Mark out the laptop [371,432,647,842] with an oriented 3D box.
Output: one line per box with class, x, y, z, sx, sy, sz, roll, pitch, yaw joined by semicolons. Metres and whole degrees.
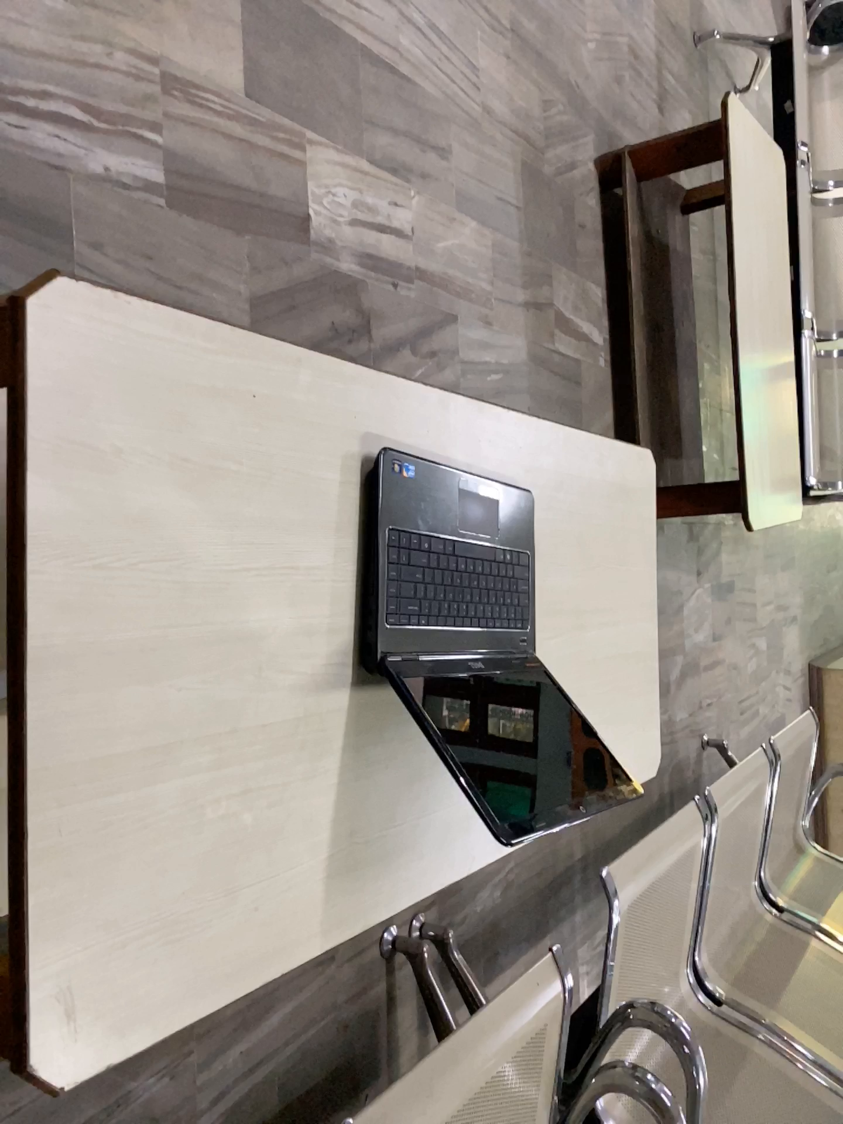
laptop;0.115;0.081;0.966;0.331;0.152;0.378;8;82;-53
